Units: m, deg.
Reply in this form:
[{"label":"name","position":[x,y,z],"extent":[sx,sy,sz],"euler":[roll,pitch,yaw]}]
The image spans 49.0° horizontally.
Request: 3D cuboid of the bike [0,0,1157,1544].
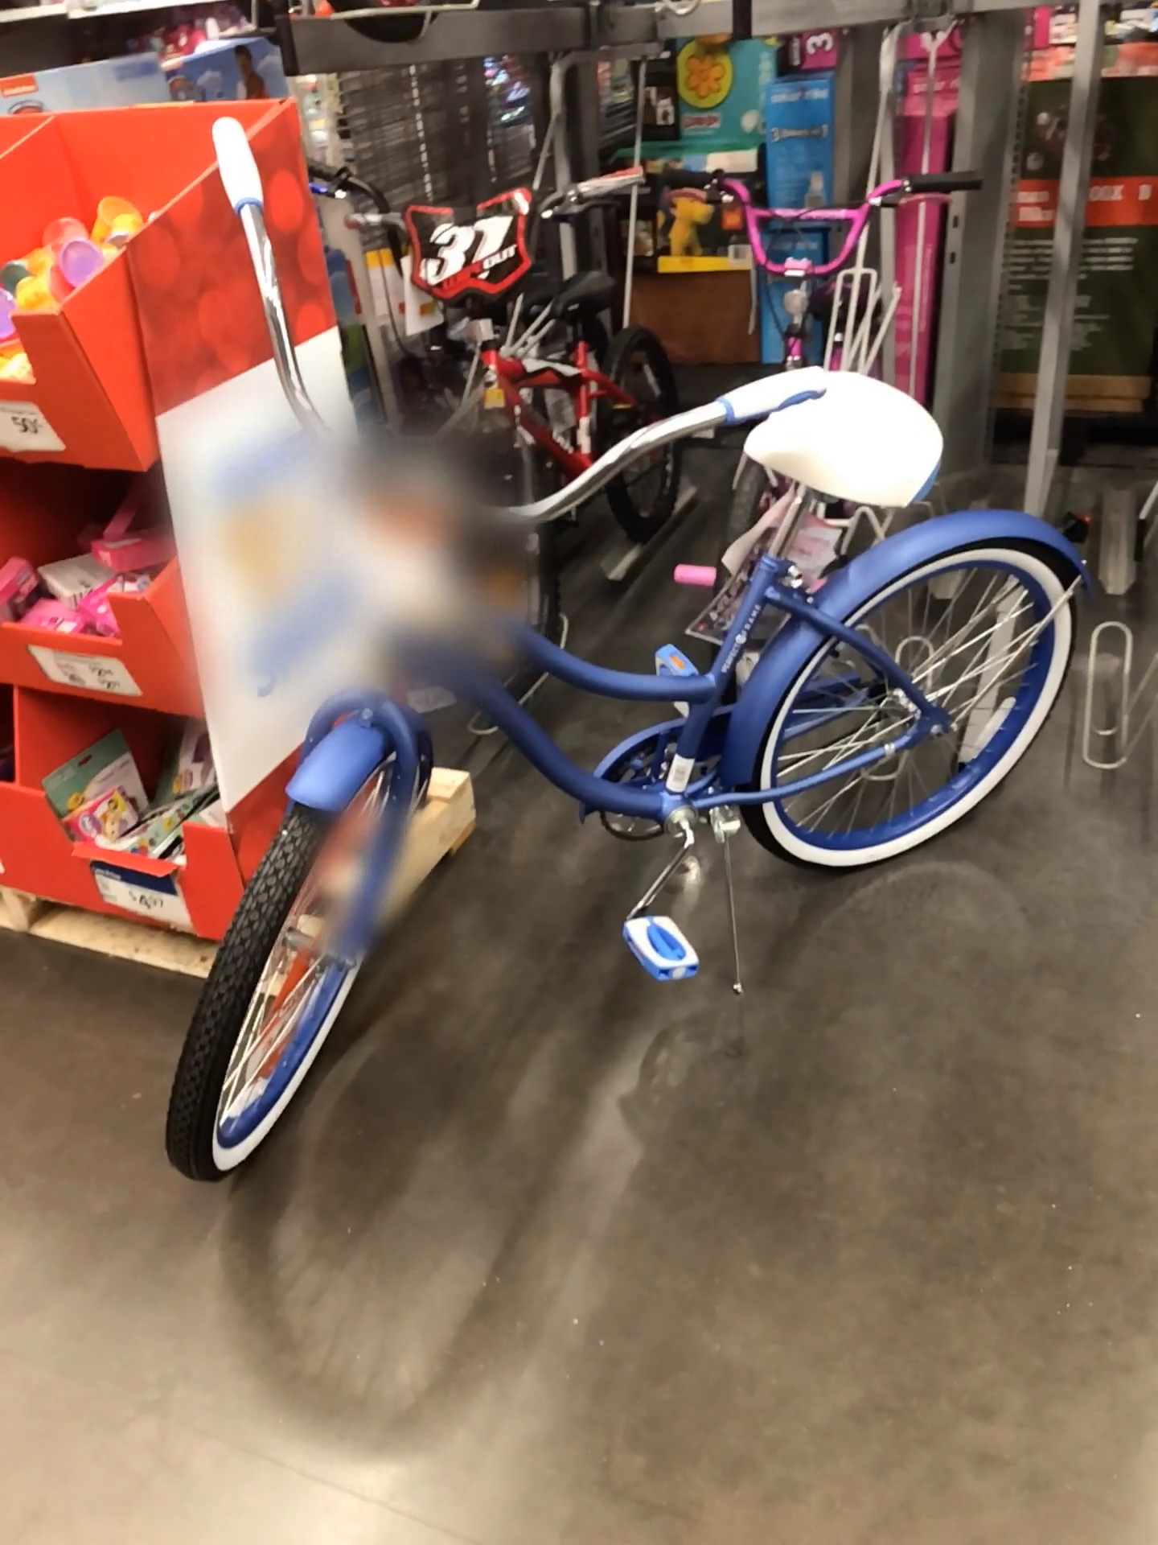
[{"label":"bike","position":[0.130,-0.127,1.470],"extent":[1.356,1.113,0.860],"euler":[-25,36,-24]}]
